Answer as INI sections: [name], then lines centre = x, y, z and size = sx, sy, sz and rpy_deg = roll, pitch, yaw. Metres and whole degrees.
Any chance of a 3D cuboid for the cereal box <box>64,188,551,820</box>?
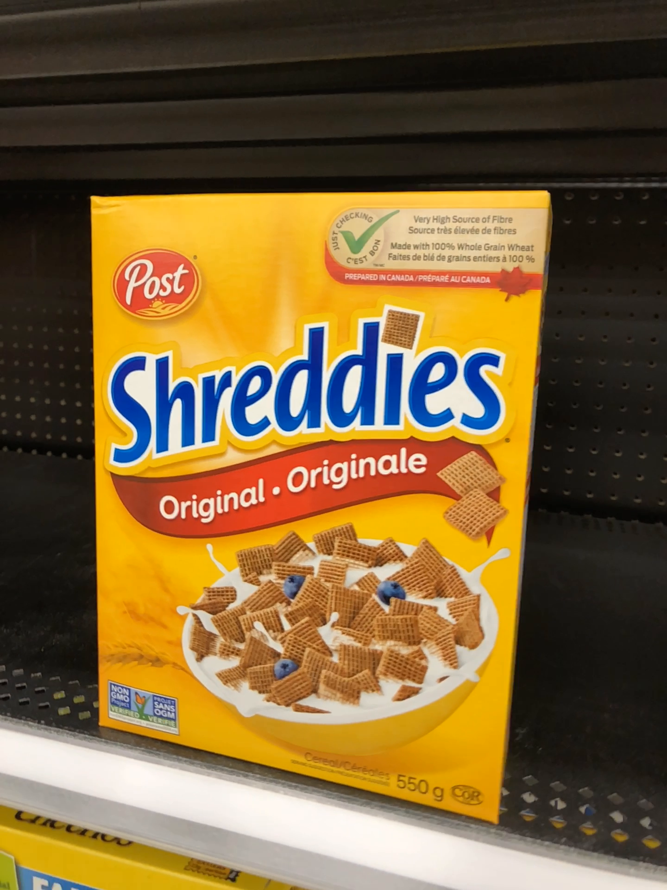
[cereal box]
centre = -0.016, 0.018, 0.357
size = 0.210, 0.259, 0.070
rpy_deg = 5, 10, 17
